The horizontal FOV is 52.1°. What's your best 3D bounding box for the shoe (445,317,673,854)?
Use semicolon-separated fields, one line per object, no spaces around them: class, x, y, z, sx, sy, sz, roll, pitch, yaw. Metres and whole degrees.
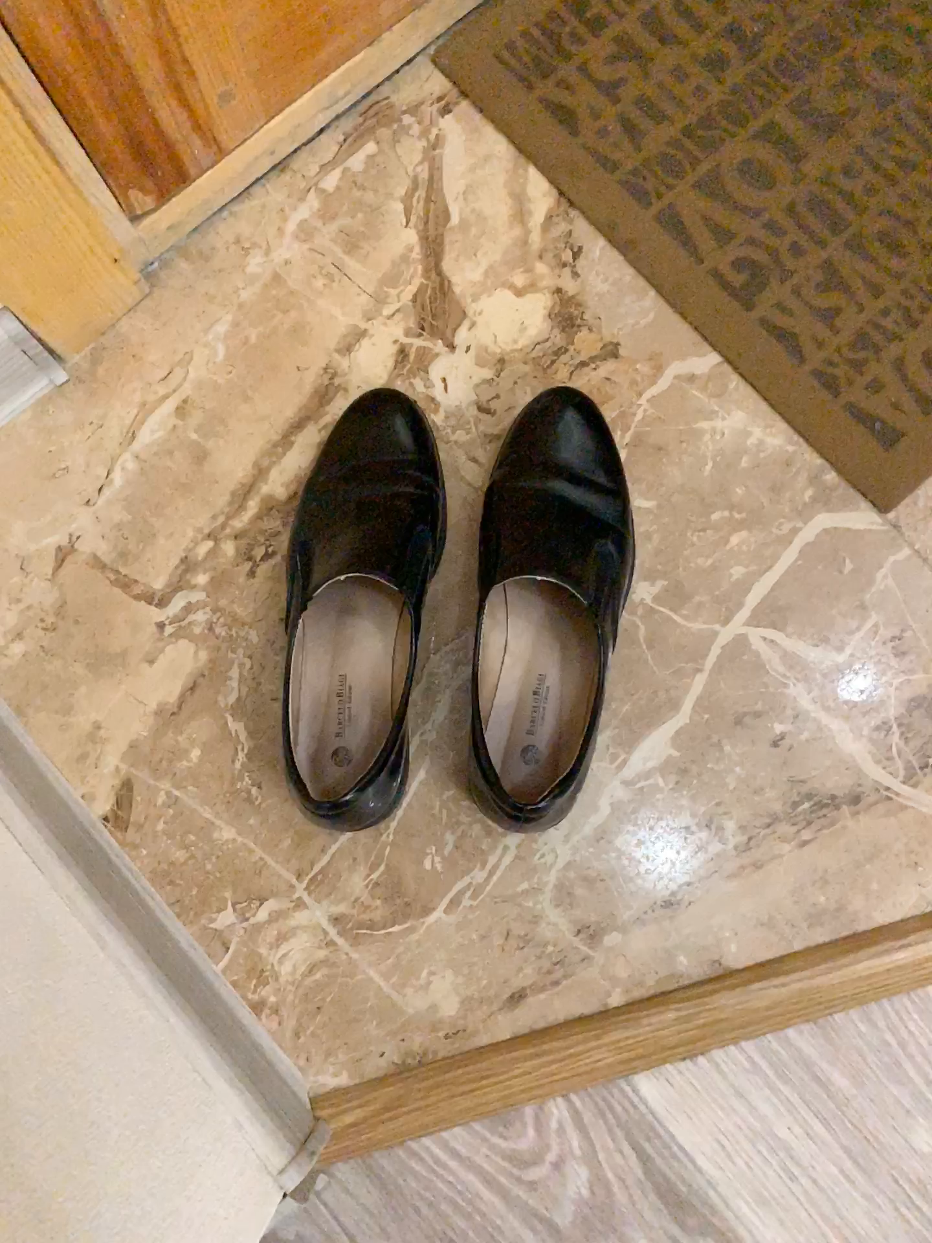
shoe;0.049;-0.016;0.515;0.090;0.100;0.260;5;81;3

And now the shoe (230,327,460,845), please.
shoe;-0.059;-0.016;0.529;0.090;0.100;0.260;4;81;2
